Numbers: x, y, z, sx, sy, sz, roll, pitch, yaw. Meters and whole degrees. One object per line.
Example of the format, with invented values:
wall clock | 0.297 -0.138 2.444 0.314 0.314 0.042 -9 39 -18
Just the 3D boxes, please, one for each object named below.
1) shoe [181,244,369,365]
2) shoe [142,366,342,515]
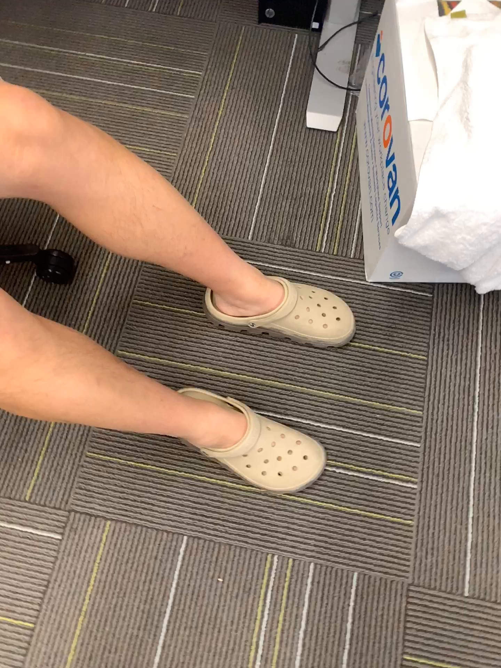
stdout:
shoe | 0.047 -0.058 1.000 0.330 0.080 0.140 15 71 5
shoe | -0.015 0.192 0.922 0.321 0.080 0.134 23 72 8
